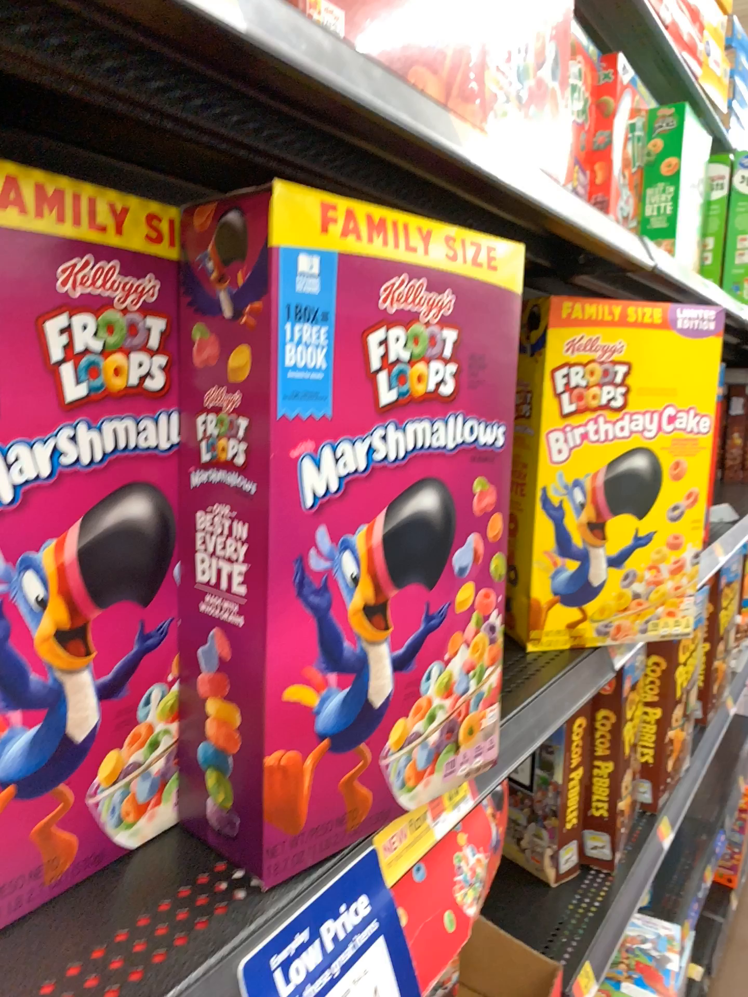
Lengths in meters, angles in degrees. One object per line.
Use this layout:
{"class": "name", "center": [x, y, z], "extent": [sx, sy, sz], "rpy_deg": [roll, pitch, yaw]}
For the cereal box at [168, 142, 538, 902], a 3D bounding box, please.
{"class": "cereal box", "center": [-0.007, 0.009, 0.439], "extent": [0.080, 0.339, 0.200], "rpy_deg": [9, 10, 44]}
